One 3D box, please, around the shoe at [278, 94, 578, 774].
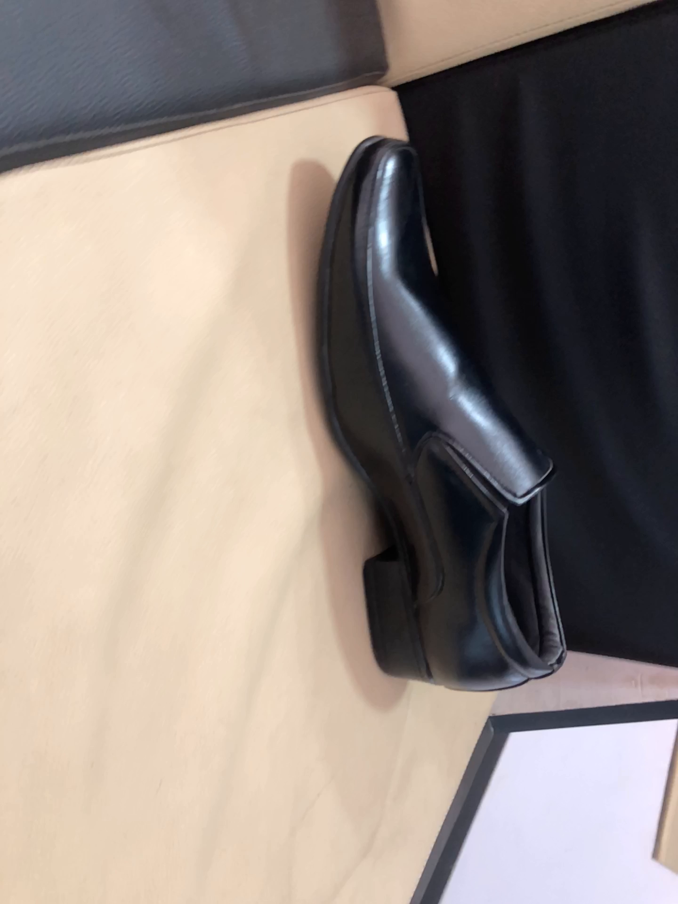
[{"bbox_3d":[0.059,-0.004,0.401,0.101,0.079,0.320,-32,116,-53],"label":"shoe"}]
